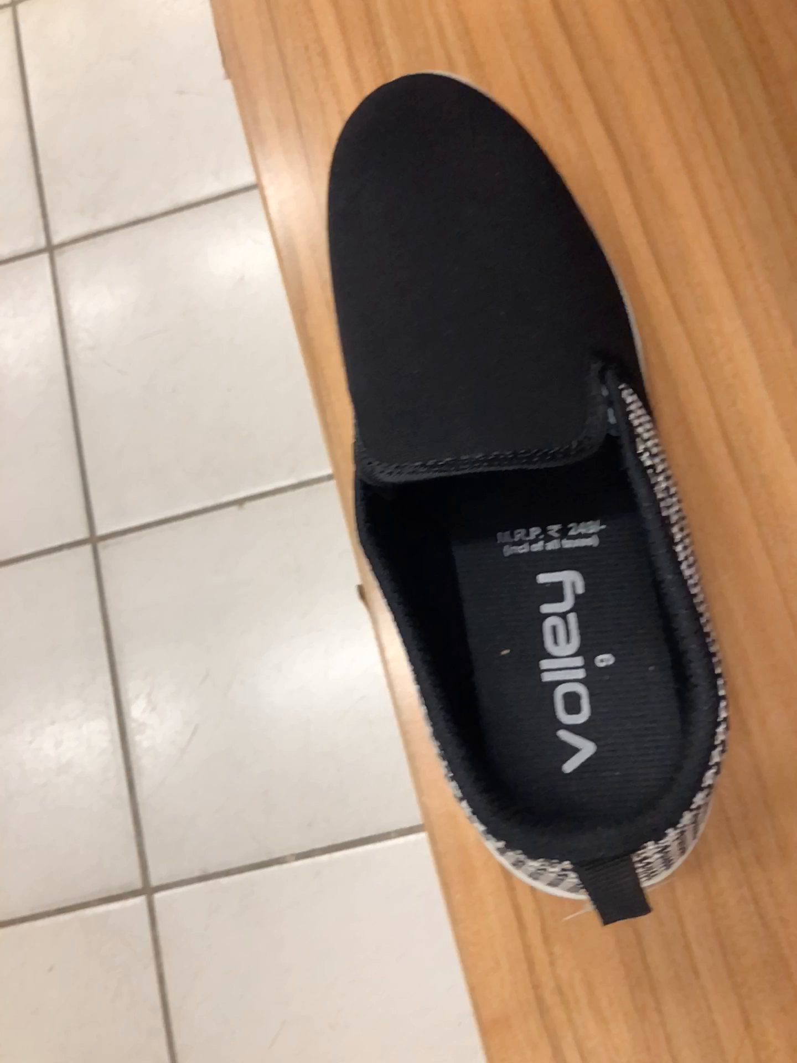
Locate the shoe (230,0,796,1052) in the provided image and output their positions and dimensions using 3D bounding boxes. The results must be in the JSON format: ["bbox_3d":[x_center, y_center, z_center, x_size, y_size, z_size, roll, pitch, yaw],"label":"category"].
[{"bbox_3d":[0.036,-0.029,0.264,0.100,0.090,0.290,-14,76,5],"label":"shoe"}]
